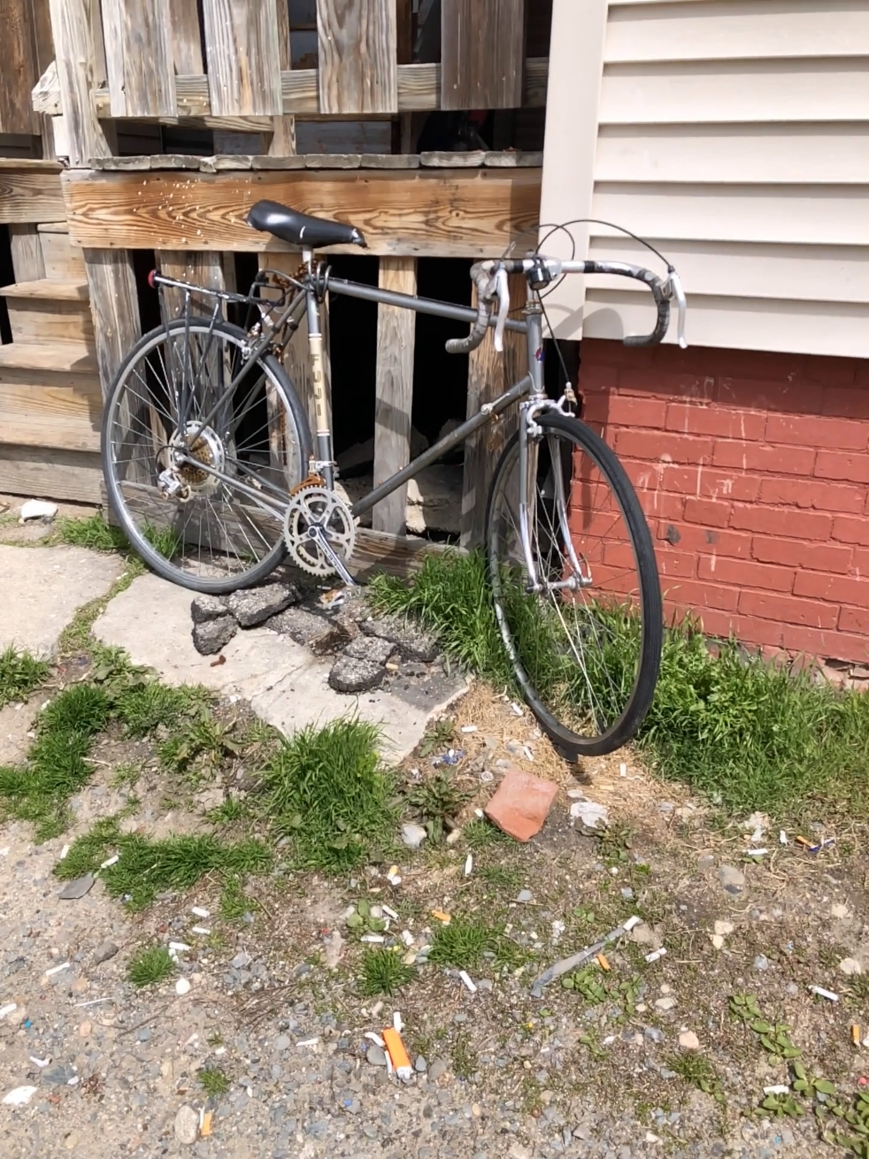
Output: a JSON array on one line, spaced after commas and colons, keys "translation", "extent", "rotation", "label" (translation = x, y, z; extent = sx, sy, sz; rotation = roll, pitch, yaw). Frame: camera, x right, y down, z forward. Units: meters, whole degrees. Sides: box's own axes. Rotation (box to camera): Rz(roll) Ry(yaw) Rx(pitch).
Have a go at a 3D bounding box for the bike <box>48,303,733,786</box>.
[{"translation": [-0.143, -0.168, 1.649], "extent": [1.202, 0.479, 0.400], "rotation": [17, 26, 34], "label": "bike"}]
